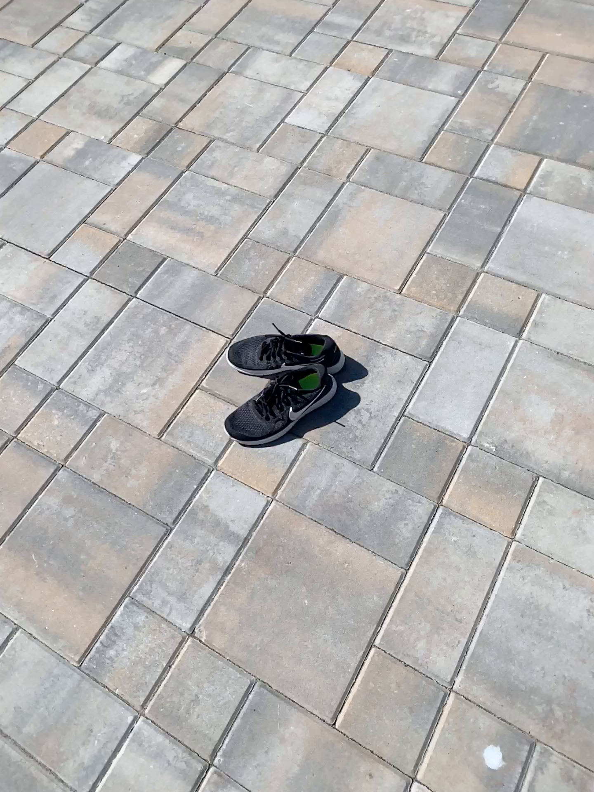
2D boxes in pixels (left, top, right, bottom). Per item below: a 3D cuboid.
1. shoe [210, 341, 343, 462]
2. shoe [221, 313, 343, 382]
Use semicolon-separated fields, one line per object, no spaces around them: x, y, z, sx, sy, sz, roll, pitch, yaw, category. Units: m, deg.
-0.039;0.012;1.278;0.250;0.110;0.110;-30;62;-12;shoe
-0.028;-0.107;1.325;0.250;0.100;0.110;1;60;6;shoe
